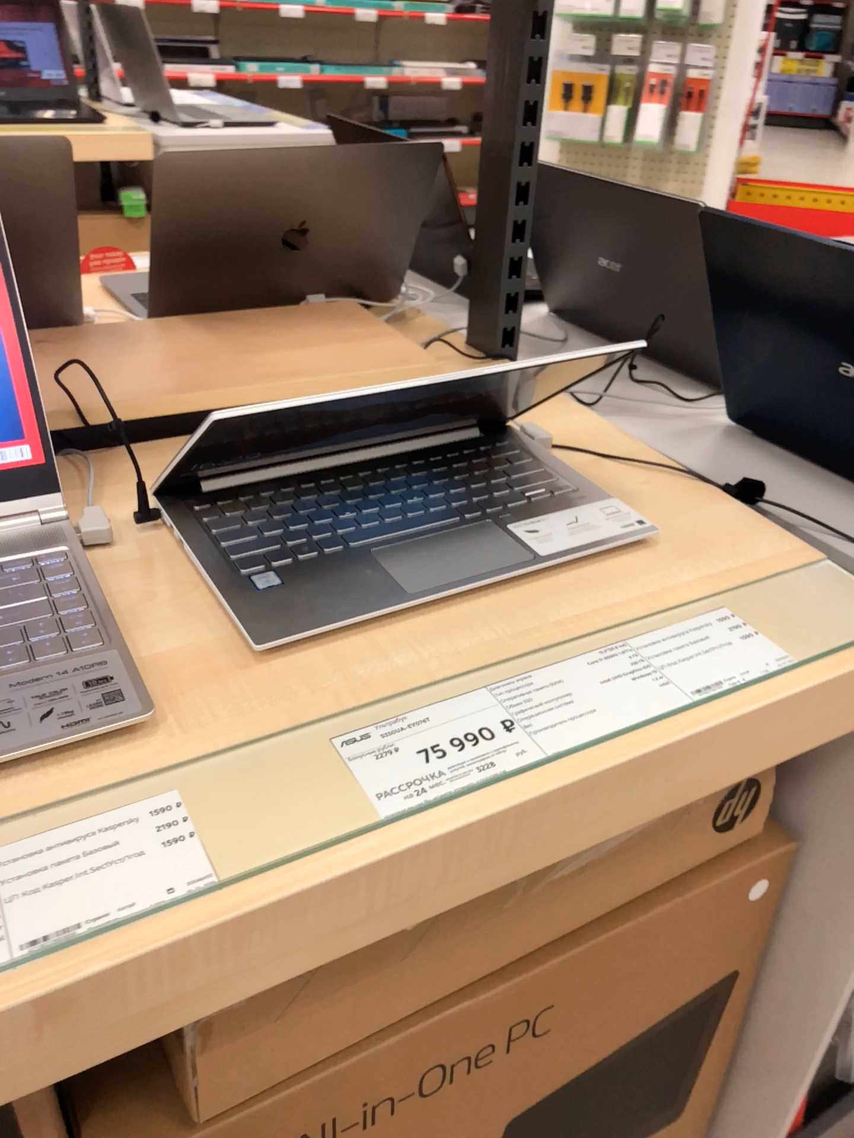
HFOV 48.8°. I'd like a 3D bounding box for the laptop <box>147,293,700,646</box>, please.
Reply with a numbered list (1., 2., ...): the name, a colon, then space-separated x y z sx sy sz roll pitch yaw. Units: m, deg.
1. laptop: -0.006 -0.090 0.653 0.309 0.119 0.197 -15 35 -27
